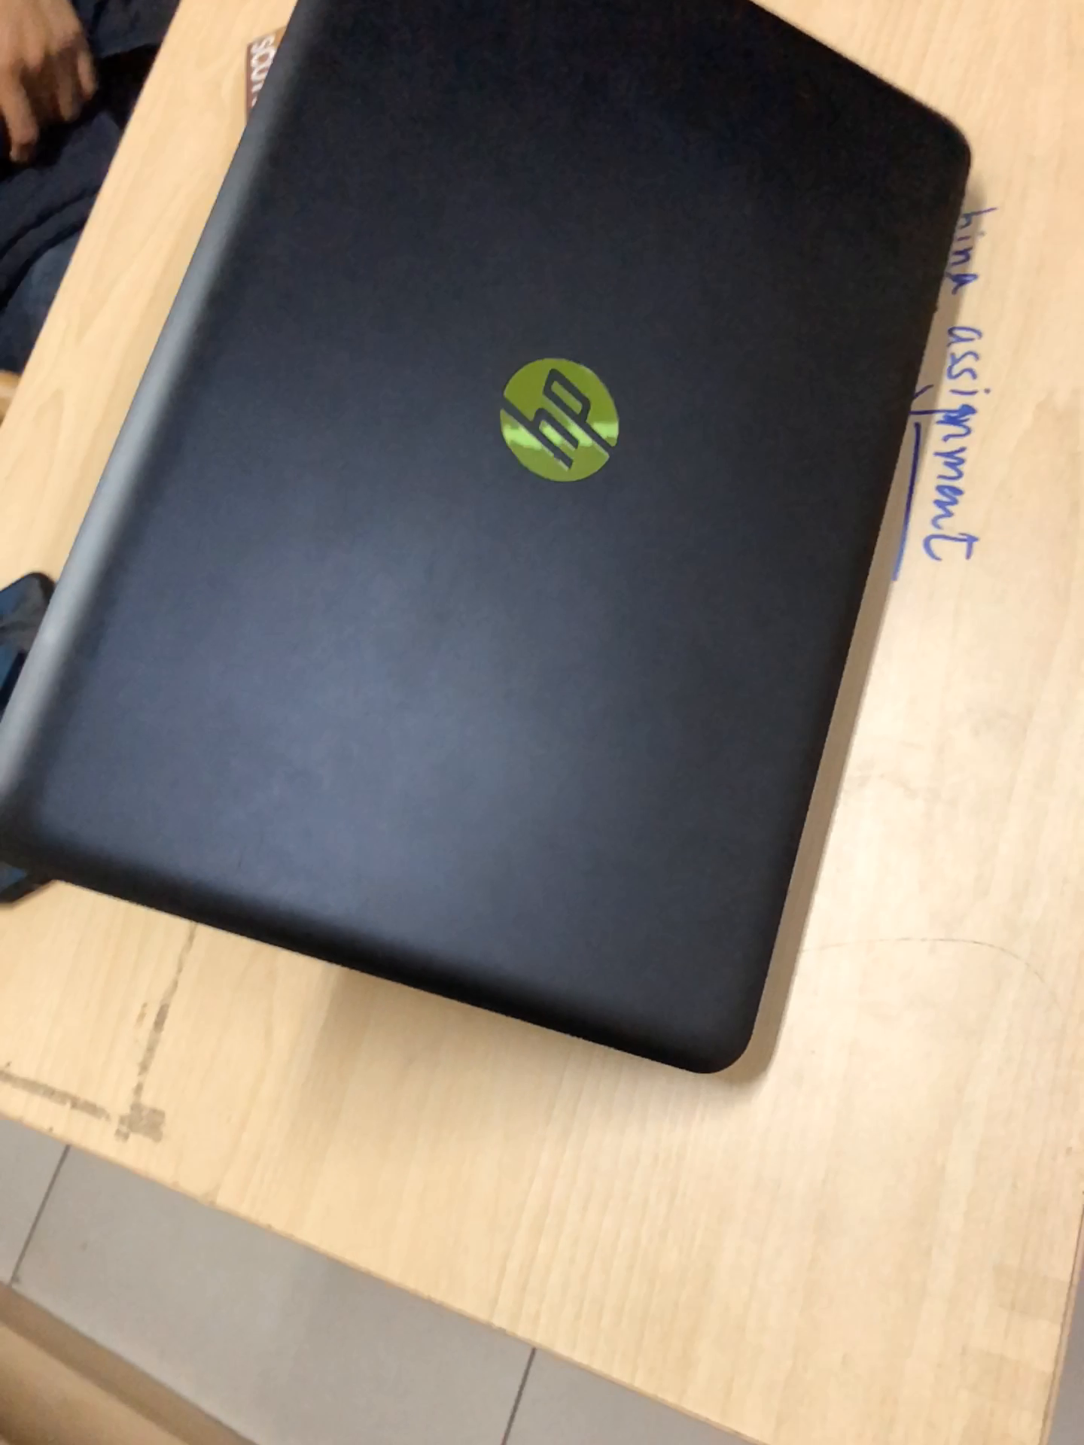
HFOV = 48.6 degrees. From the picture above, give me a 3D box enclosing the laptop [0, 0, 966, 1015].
[{"bbox_3d":[-0.014,-0.113,0.420,0.231,0.167,0.359,12,76,25],"label":"laptop"}]
